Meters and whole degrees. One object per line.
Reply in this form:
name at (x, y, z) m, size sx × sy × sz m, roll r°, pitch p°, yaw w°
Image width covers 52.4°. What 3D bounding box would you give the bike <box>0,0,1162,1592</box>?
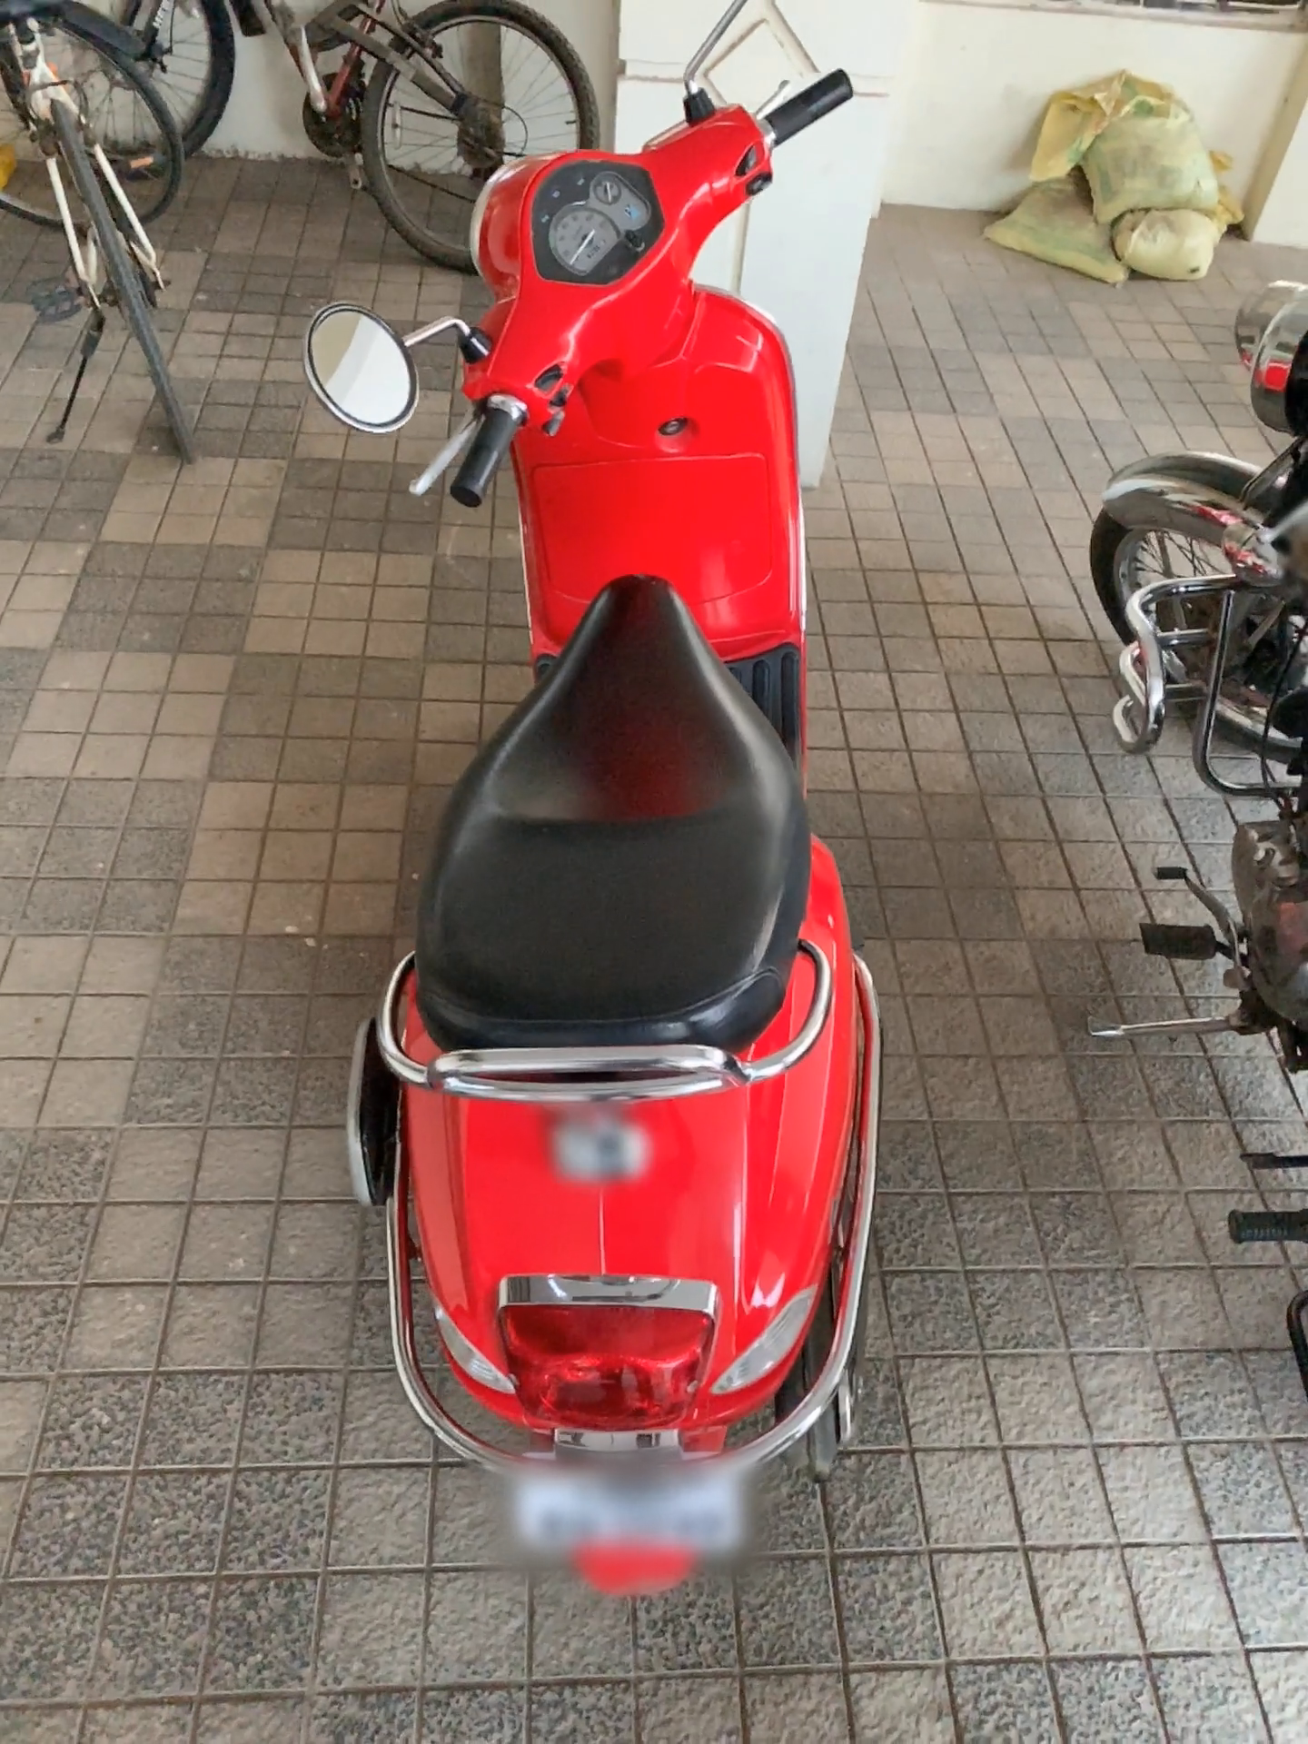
bike at (-0.238, -0.165, 1.617) m, size 0.681 × 1.263 × 1.553 m, roll -2°, pitch 49°, yaw -8°
